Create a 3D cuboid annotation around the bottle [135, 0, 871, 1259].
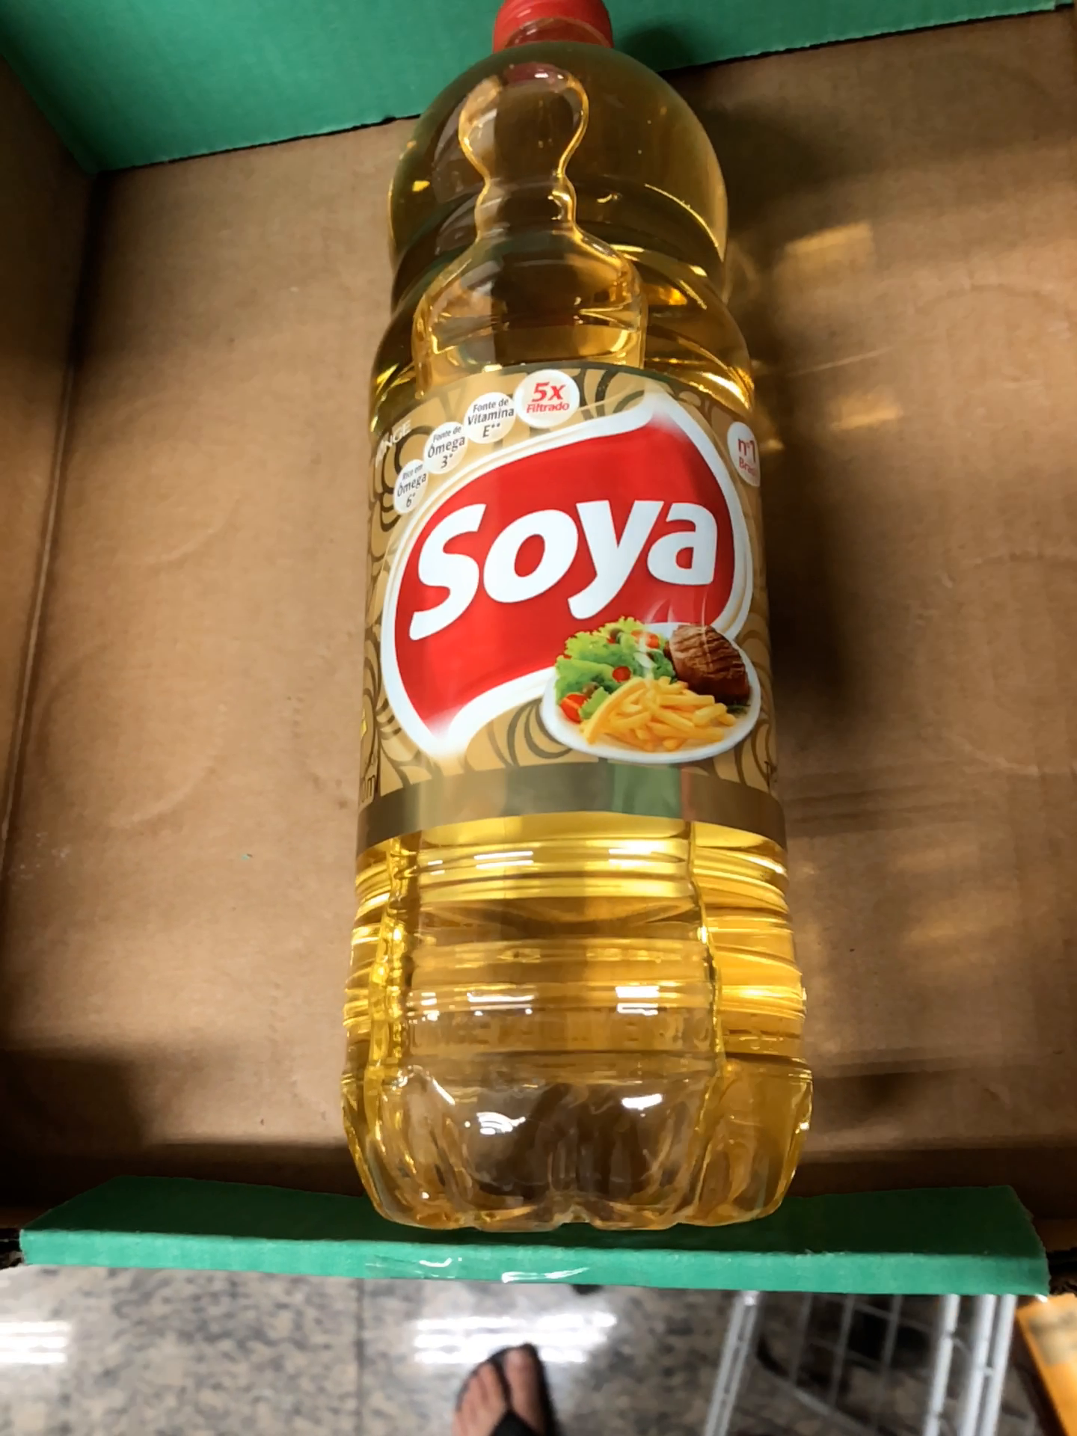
[{"bbox_3d":[-0.004,-0.034,0.192,0.080,0.070,0.210,-5,72,9],"label":"bottle"}]
